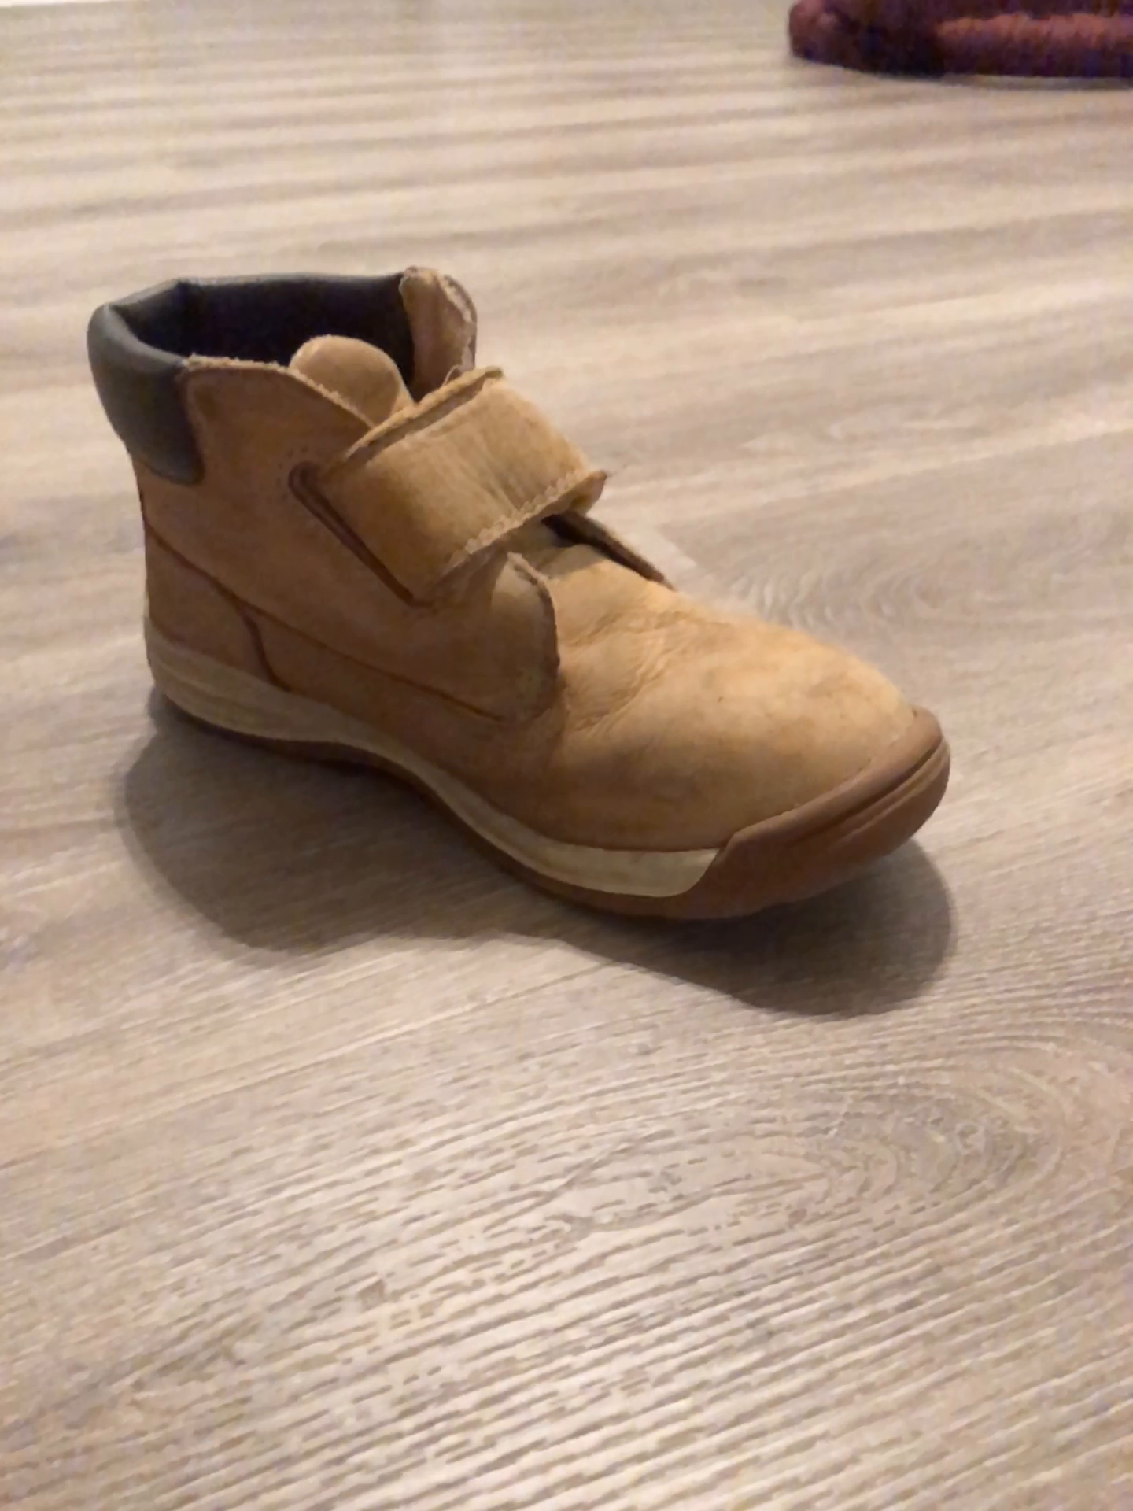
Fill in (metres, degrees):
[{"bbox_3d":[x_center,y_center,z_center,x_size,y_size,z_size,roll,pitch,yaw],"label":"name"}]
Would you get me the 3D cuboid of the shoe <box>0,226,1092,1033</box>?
[{"bbox_3d":[-0.011,-0.044,0.275,0.200,0.099,0.090,20,39,28],"label":"shoe"}]
